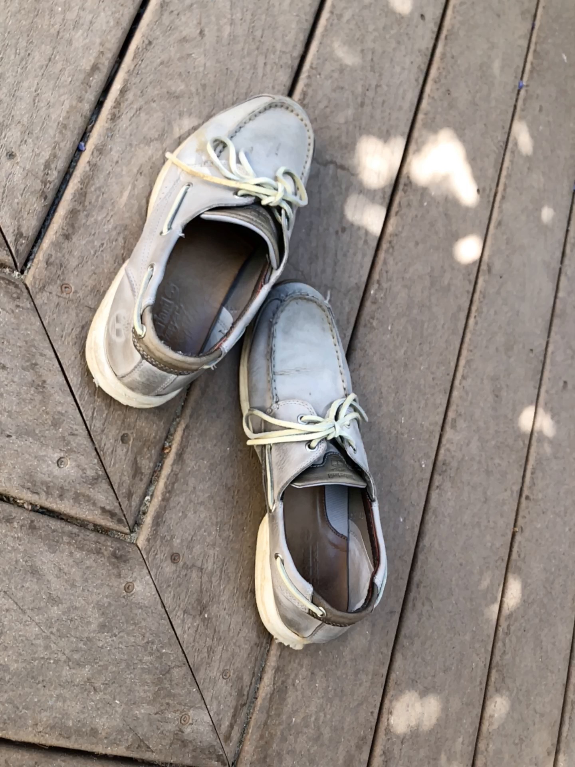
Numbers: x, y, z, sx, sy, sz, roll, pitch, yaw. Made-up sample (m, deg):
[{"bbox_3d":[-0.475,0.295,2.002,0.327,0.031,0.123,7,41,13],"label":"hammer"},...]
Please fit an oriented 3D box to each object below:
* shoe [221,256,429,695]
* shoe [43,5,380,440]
[{"bbox_3d":[0.027,0.068,0.532,0.121,0.109,0.310,3,82,-34],"label":"shoe"},{"bbox_3d":[-0.049,-0.124,0.502,0.117,0.099,0.314,34,66,-26],"label":"shoe"}]
